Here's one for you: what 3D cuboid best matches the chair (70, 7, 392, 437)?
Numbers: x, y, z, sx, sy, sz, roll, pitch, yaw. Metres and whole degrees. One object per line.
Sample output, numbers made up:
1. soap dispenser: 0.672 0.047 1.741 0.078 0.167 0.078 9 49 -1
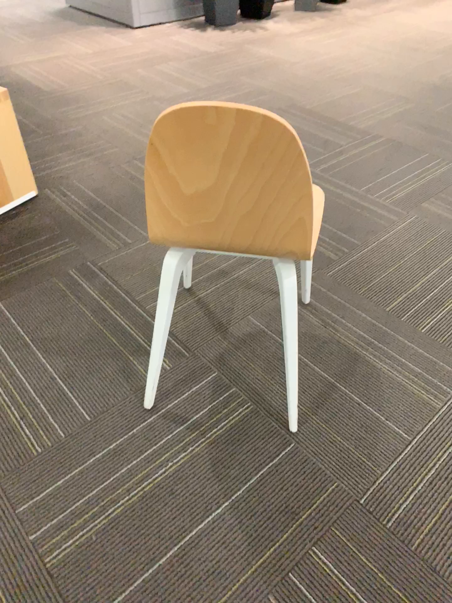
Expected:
1. chair: 0.042 -0.176 1.133 0.460 0.825 0.573 8 43 7
